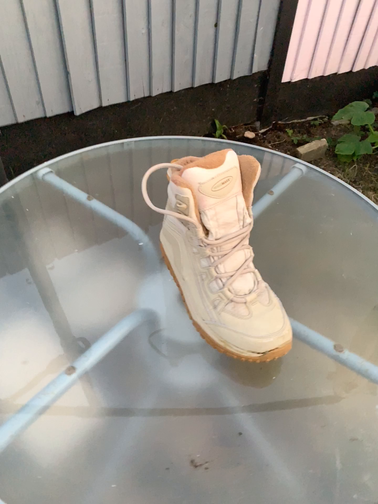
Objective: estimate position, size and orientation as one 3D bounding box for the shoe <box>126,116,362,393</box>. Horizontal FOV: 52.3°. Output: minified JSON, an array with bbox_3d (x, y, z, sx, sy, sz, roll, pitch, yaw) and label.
[{"bbox_3d":[0.036,-0.011,0.497,0.120,0.198,0.282,-20,50,-23],"label":"shoe"}]
